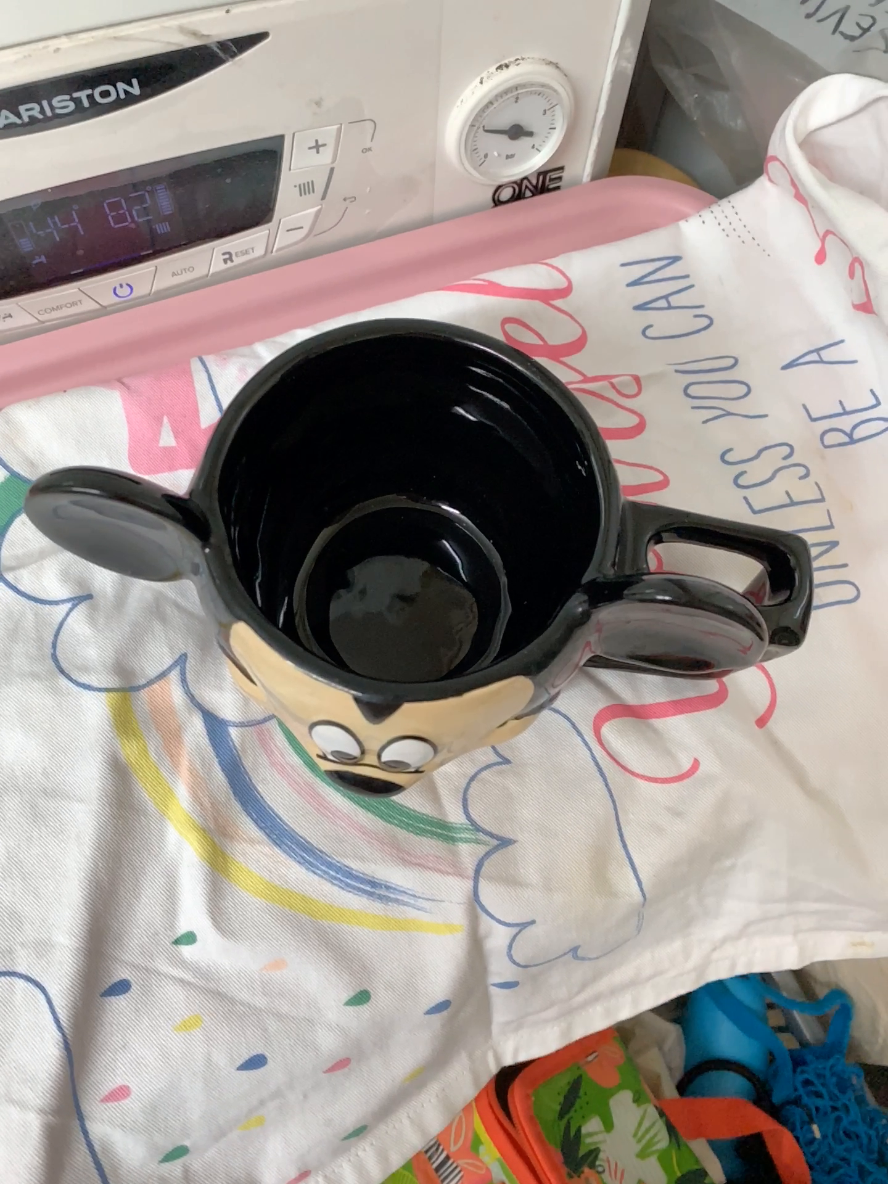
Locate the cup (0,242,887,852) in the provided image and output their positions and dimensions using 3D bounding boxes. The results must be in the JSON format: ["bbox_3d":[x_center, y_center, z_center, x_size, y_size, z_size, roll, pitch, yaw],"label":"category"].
[{"bbox_3d":[-0.005,-0.006,0.226,0.190,0.080,0.100,8,67,0],"label":"cup"}]
